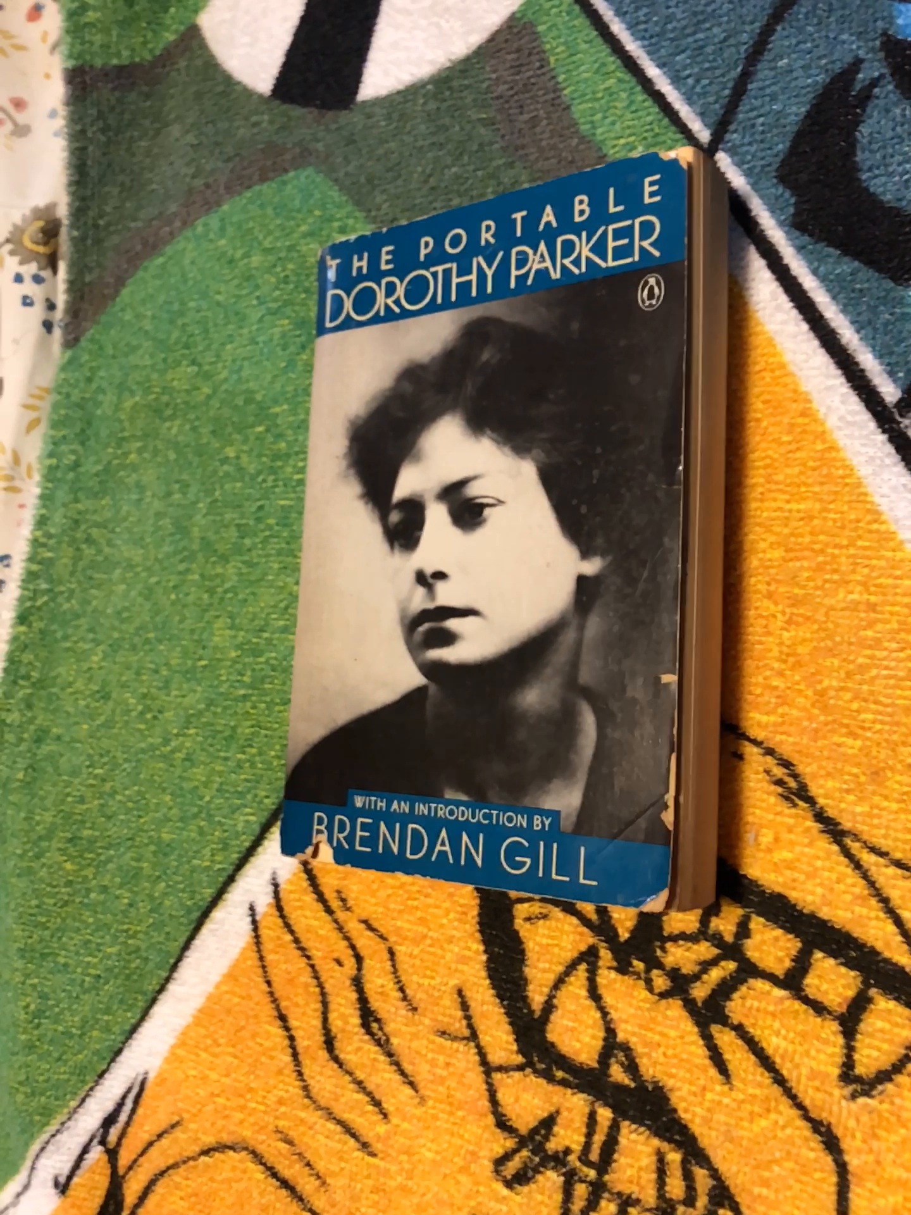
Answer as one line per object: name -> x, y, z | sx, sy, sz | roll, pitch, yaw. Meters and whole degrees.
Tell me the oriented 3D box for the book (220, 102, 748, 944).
book -> 0.006, -0.021, 0.290 | 0.140, 0.040, 0.200 | -1, 82, 30
